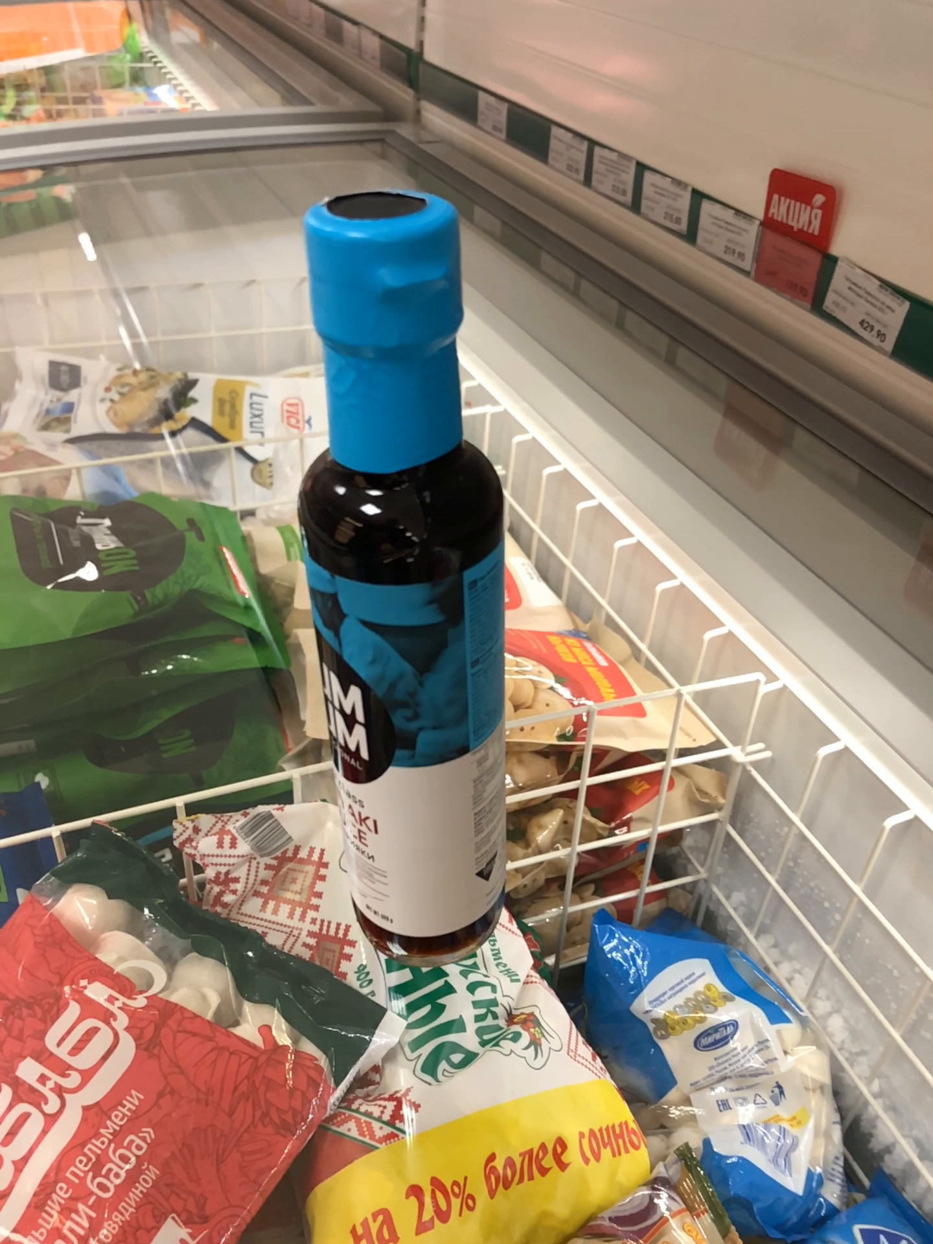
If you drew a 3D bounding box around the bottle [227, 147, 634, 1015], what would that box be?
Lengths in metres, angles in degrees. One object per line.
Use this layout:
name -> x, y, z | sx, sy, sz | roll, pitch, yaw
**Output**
bottle -> -0.011, 0.004, 0.266 | 0.060, 0.219, 0.060 | 1, 37, -1
